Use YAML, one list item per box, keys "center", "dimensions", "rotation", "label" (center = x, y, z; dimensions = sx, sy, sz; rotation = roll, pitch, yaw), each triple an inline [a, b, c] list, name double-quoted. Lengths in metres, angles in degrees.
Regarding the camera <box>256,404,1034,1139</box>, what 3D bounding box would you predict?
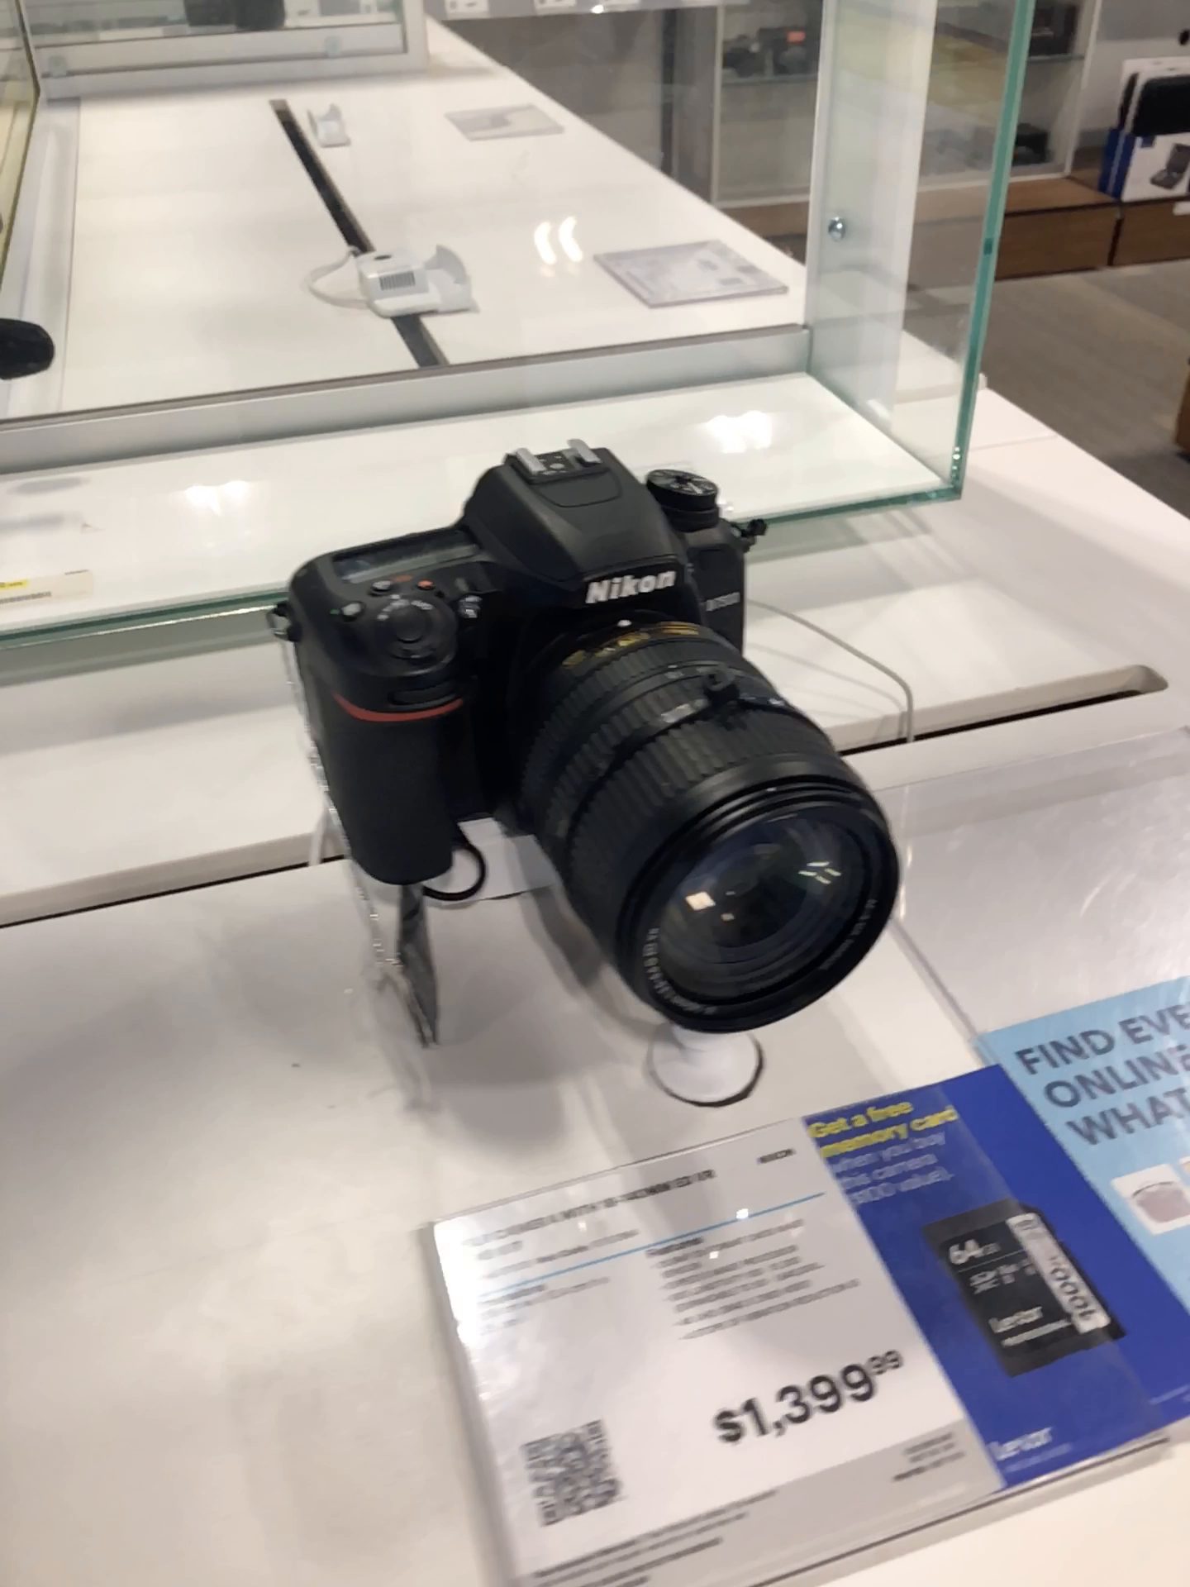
- center: [-0.001, -0.025, 0.371]
  dimensions: [0.140, 0.089, 0.191]
  rotation: [-14, 39, -17]
  label: "camera"
